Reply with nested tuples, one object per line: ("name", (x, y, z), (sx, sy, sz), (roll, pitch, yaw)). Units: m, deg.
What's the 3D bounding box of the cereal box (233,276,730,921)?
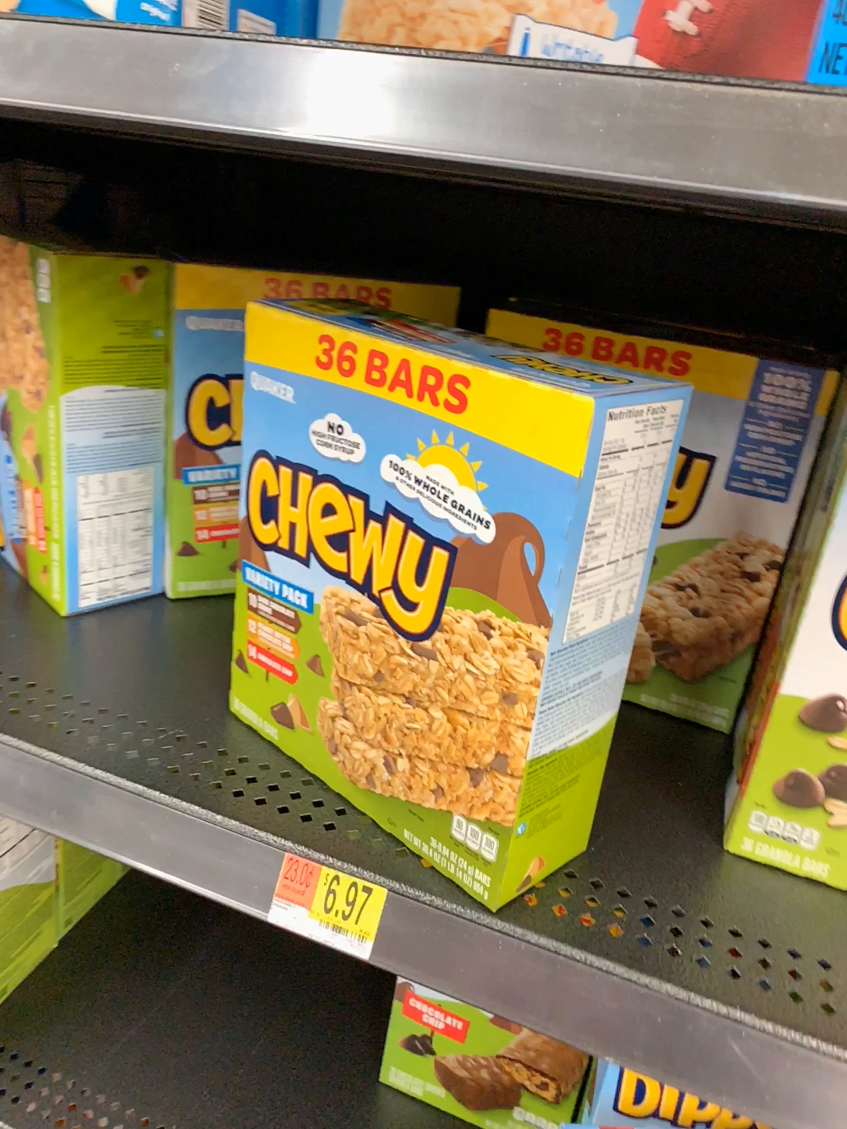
("cereal box", (0.005, 0.002, 0.408), (0.200, 0.229, 0.070), (27, 28, 37))
